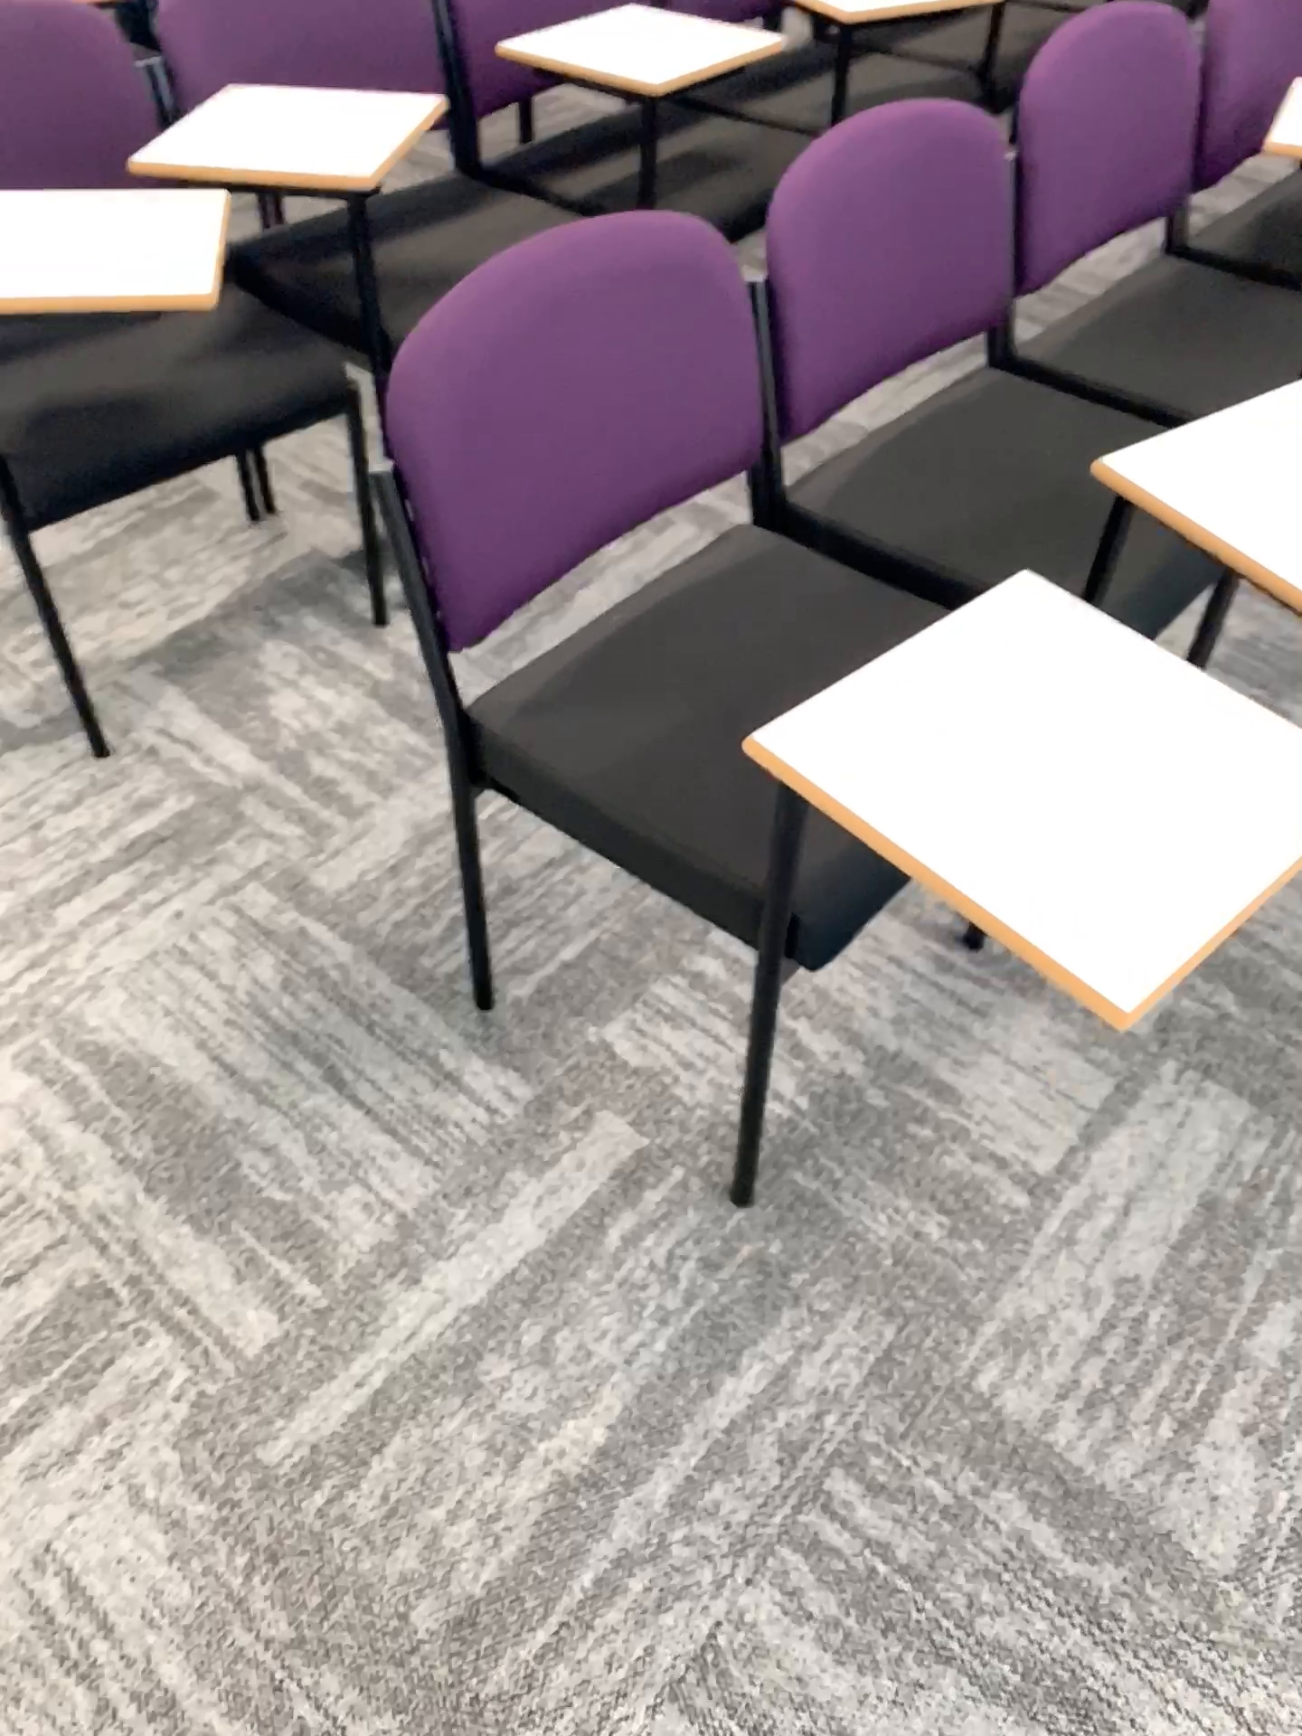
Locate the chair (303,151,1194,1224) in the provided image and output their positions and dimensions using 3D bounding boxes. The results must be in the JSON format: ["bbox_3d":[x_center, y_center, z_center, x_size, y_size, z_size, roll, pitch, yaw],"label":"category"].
[{"bbox_3d":[0.080,-0.168,1.355,0.502,0.801,0.518,32,53,26],"label":"chair"}]

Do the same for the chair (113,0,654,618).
[{"bbox_3d":[-0.362,-0.924,2.064,0.518,0.782,0.503,-35,56,-30],"label":"chair"}]

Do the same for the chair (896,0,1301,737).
[{"bbox_3d":[0.754,-0.722,1.912,0.482,0.792,0.518,32,53,26],"label":"chair"}]

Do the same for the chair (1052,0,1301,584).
[{"bbox_3d":[1.098,-1.007,2.187,0.502,0.792,0.518,32,53,26],"label":"chair"}]

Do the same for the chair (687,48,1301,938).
[{"bbox_3d":[0.412,-0.446,1.633,0.492,0.792,0.518,32,53,26],"label":"chair"}]

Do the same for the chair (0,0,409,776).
[{"bbox_3d":[-0.731,-0.664,1.799,0.518,0.801,0.503,-34,55,-29],"label":"chair"}]

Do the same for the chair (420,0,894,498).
[{"bbox_3d":[0.003,-1.191,2.316,0.518,0.801,0.503,-35,56,-30],"label":"chair"}]
